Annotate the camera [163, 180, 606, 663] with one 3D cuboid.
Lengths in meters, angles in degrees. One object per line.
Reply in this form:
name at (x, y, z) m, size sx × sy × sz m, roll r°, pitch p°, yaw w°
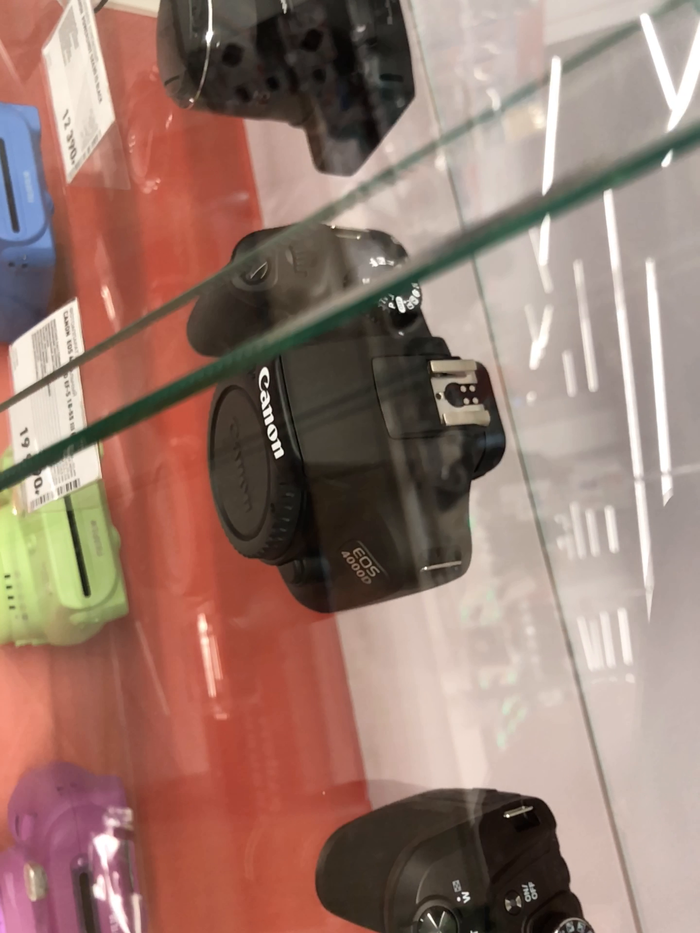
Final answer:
camera at (0.005, -0.013, 0.276) m, size 0.100 × 0.083 × 0.135 m, roll -7°, pitch 77°, yaw -29°
